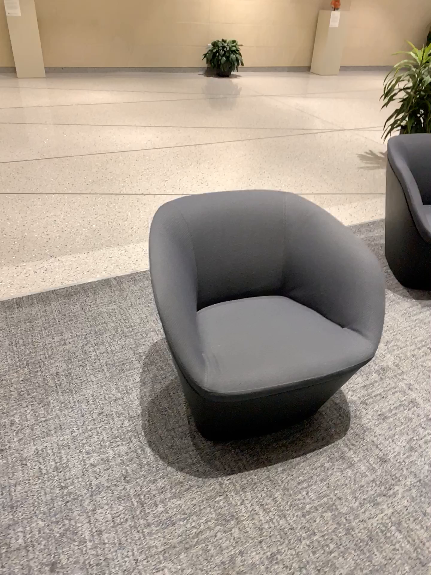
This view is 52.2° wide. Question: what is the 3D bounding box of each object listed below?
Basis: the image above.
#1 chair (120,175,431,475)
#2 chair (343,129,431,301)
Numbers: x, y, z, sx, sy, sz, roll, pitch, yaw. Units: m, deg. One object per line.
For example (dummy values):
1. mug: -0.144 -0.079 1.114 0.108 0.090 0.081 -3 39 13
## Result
1. chair: 0.141 0.065 1.535 0.779 0.658 0.636 -10 35 -19
2. chair: 1.242 -0.414 2.340 0.769 0.668 0.636 -4 34 -12
